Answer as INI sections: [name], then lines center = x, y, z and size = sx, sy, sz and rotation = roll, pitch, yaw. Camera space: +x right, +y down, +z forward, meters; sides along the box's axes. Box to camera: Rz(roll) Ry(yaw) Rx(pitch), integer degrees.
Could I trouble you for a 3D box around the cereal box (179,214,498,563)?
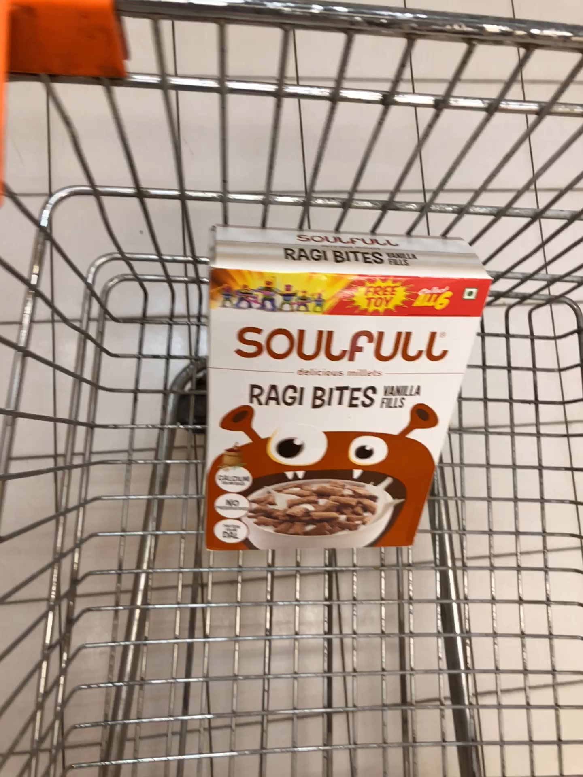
[cereal box]
center = 0.012, 0.014, 0.459
size = 0.180, 0.249, 0.070
rotation = 1, 38, -9
